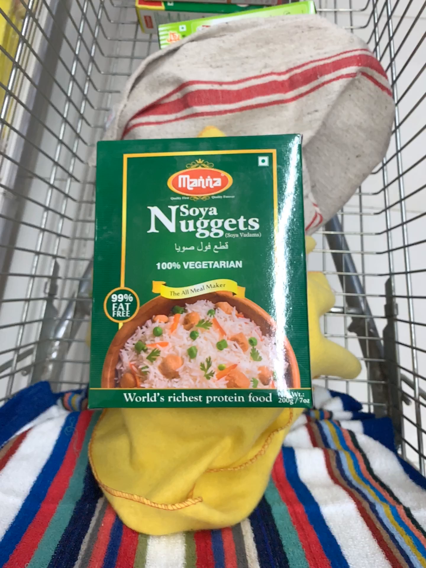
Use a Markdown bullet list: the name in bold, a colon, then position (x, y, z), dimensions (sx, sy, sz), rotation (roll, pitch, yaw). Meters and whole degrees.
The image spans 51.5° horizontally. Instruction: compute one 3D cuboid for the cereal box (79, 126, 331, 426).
- **cereal box**: position (-0.005, -0.005, 0.325), dimensions (0.160, 0.060, 0.200), rotation (-1, 81, 3)
